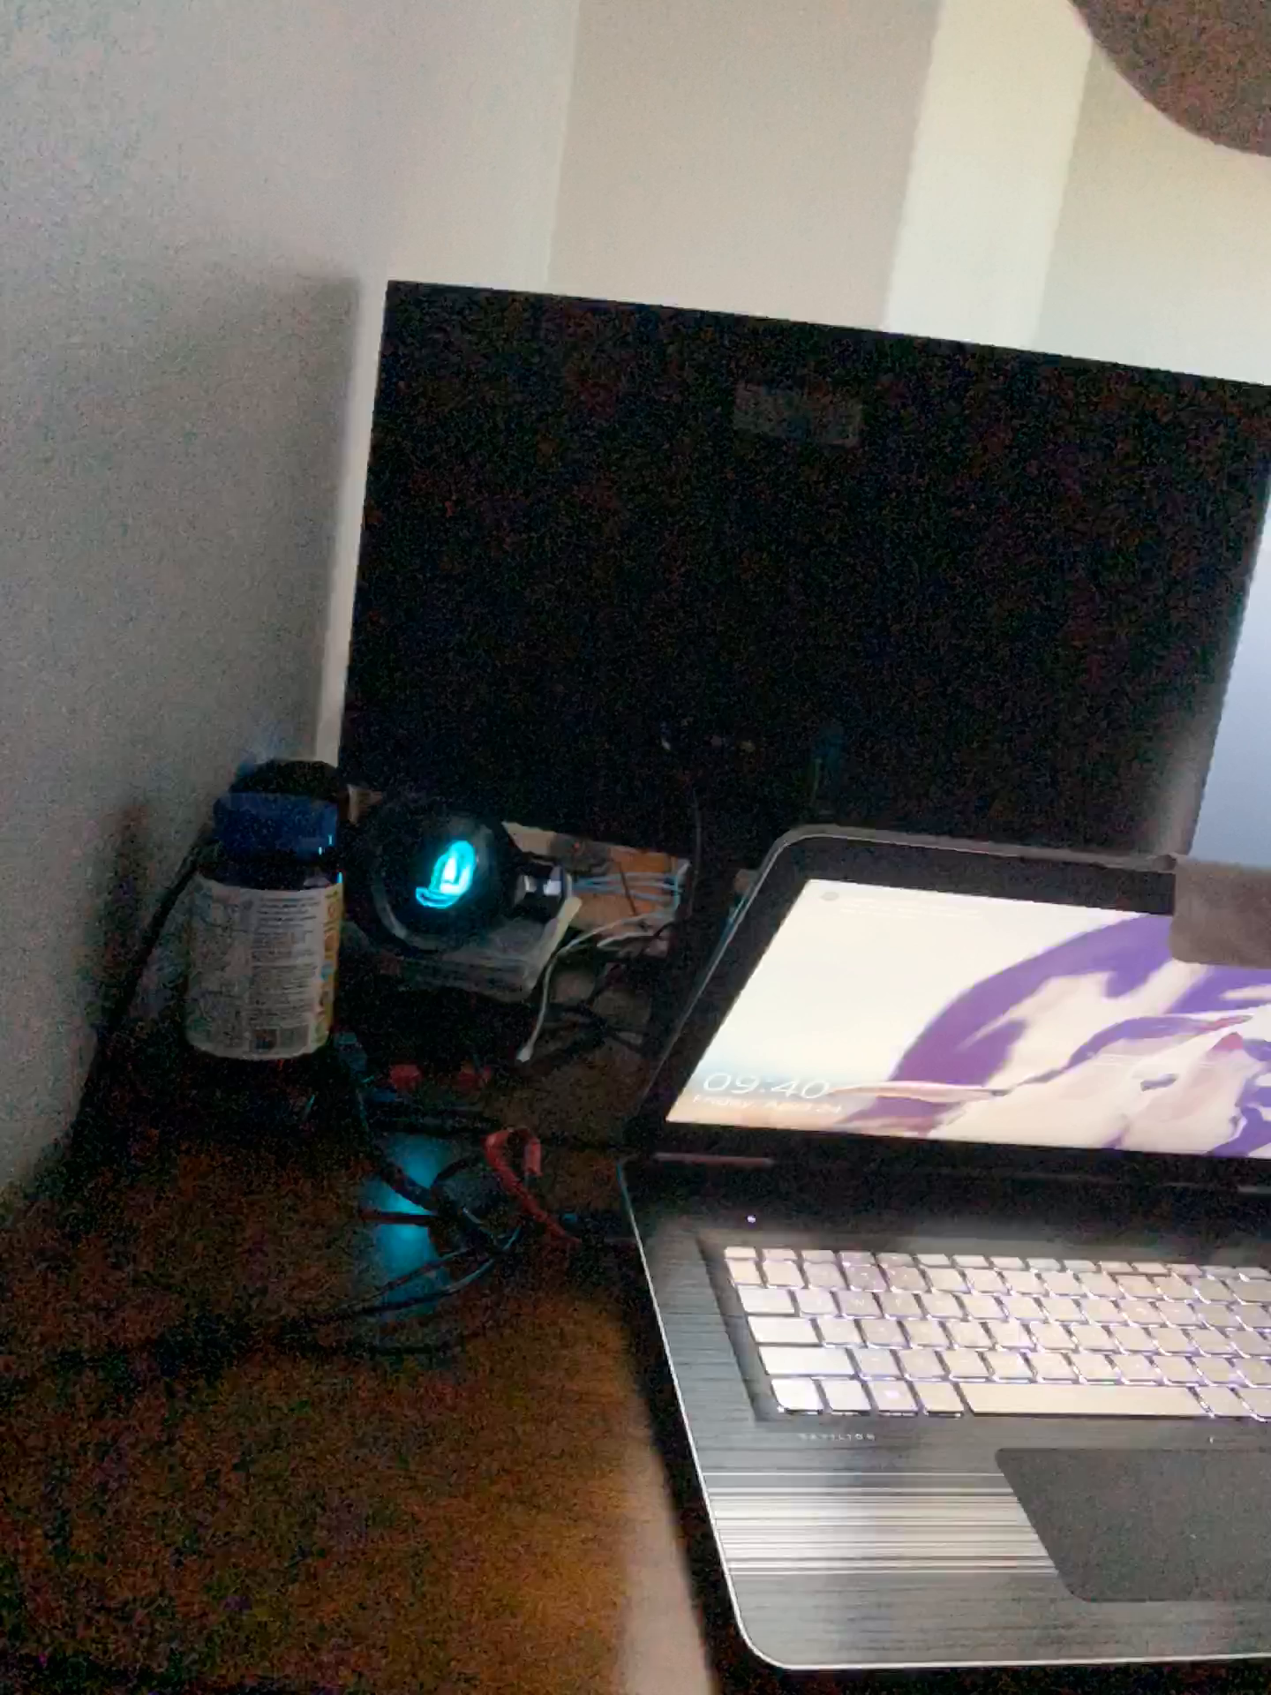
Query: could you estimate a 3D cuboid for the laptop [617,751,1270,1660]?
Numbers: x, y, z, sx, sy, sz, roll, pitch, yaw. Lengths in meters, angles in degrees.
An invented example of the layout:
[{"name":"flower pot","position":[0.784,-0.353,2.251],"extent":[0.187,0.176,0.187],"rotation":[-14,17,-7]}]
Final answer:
[{"name":"laptop","position":[0.218,0.110,0.502],"extent":[0.393,0.187,0.258],"rotation":[6,16,-13]}]
